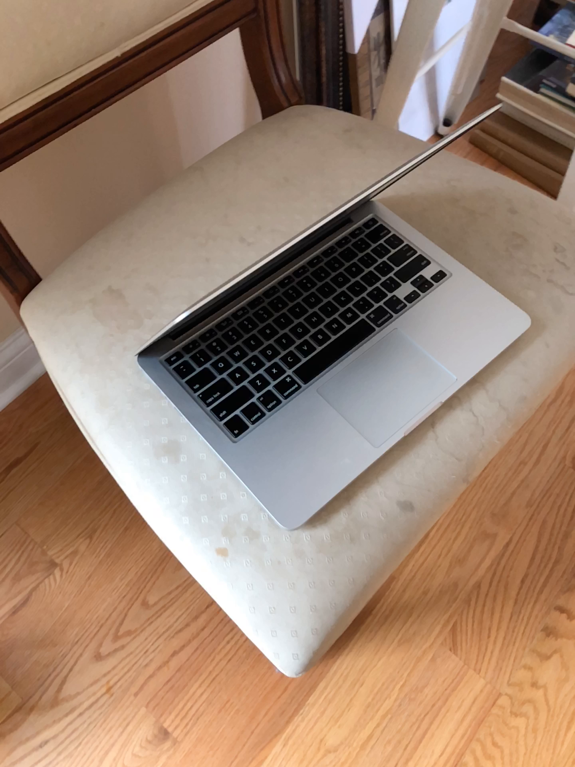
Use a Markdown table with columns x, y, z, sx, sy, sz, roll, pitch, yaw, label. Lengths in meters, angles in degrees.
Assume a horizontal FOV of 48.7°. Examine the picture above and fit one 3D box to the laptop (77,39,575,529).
| x | y | z | sx | sy | sz | roll | pitch | yaw | label |
| --- | --- | --- | --- | --- | --- | --- | --- | --- | --- |
| 0.047 | -0.086 | 0.515 | 0.309 | 0.183 | 0.218 | -37 | 66 | -19 | laptop |
